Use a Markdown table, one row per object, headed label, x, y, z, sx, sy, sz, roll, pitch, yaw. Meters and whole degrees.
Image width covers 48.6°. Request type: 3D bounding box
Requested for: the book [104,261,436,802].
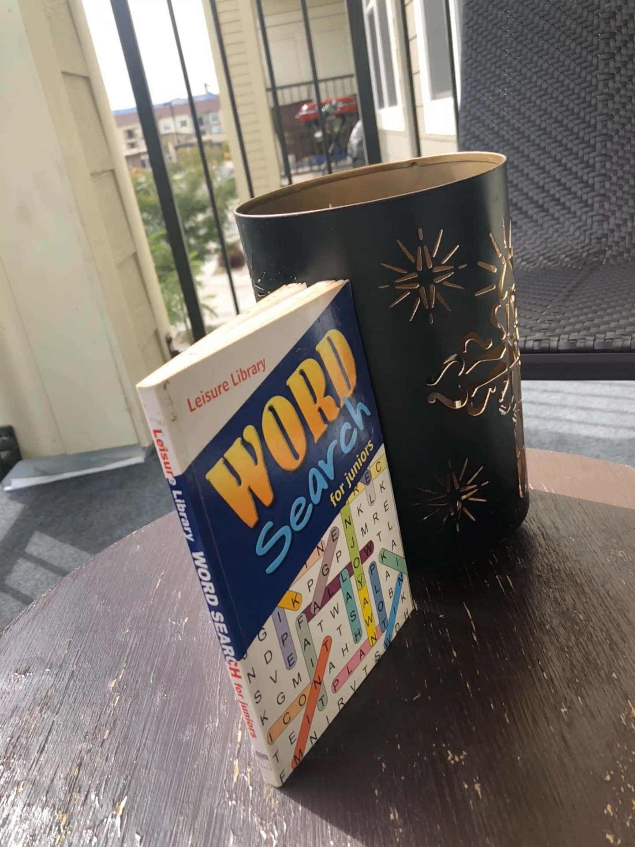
| label | x | y | z | sx | sy | sz | roll | pitch | yaw |
| --- | --- | --- | --- | --- | --- | --- | --- | --- | --- |
| book | -0.004 | 0.037 | 0.295 | 0.031 | 0.179 | 0.125 | 2 | 25 | 35 |
